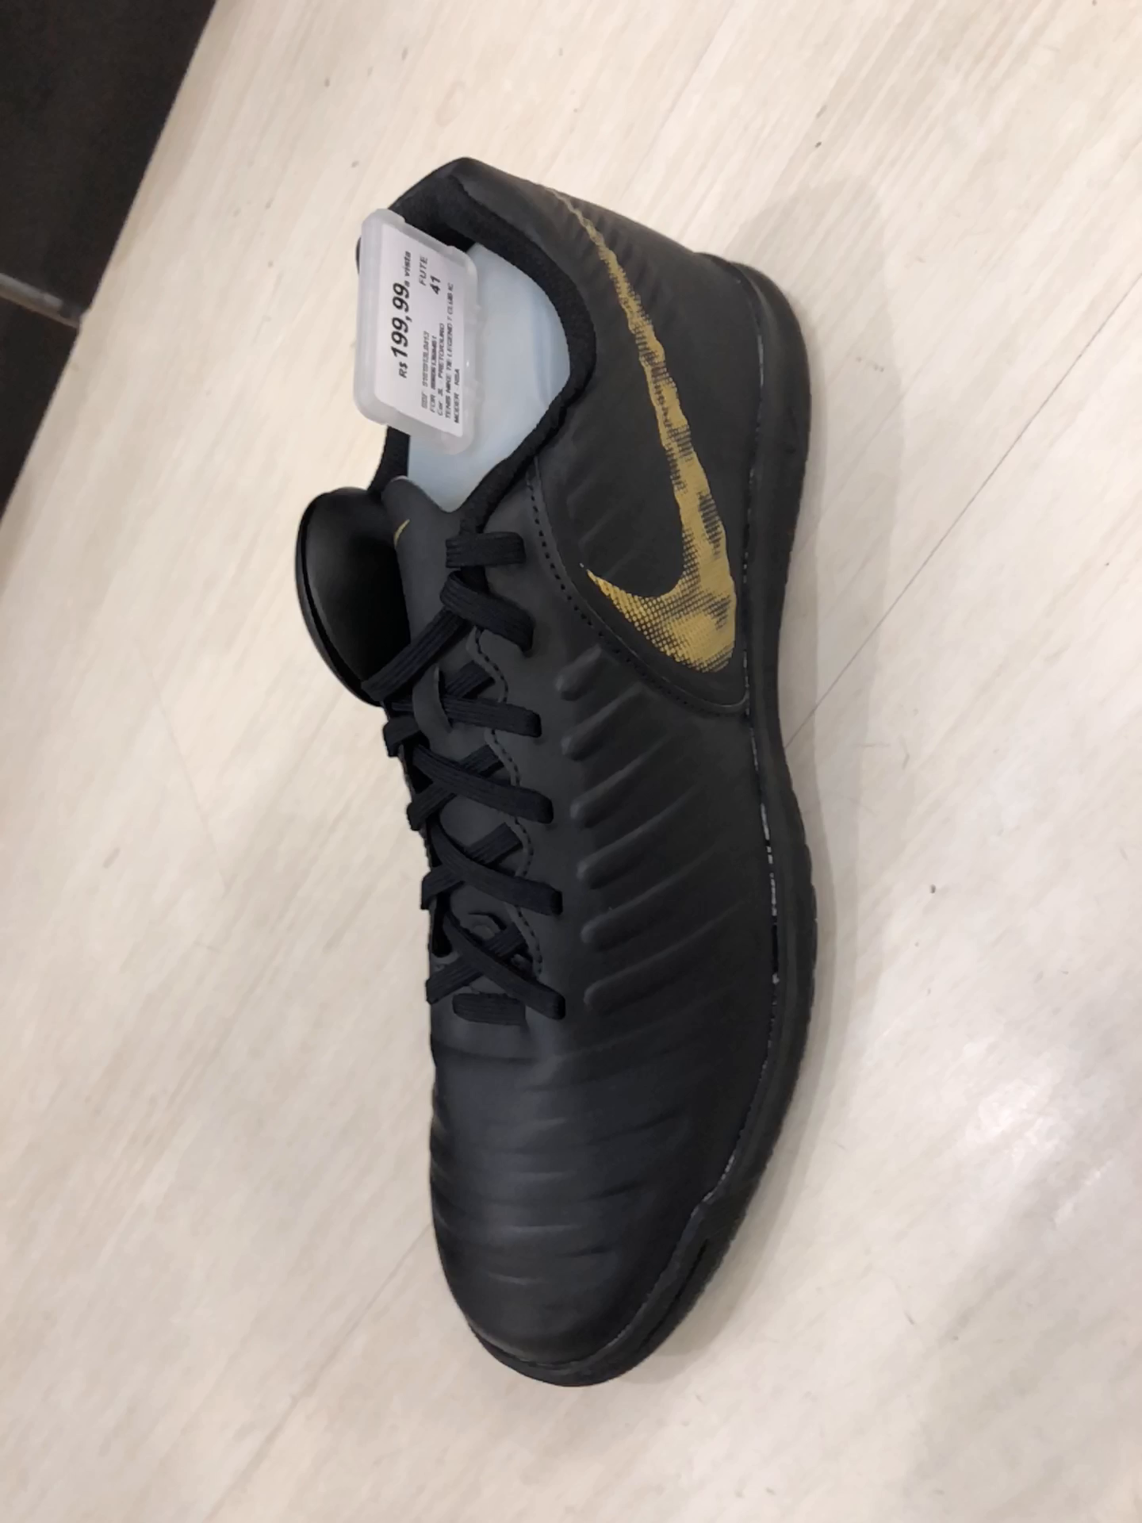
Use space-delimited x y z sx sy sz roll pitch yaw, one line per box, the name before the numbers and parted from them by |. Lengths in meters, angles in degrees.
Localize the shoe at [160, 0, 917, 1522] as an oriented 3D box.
shoe | -0.001 0.002 0.299 0.101 0.109 0.290 -7 74 49
